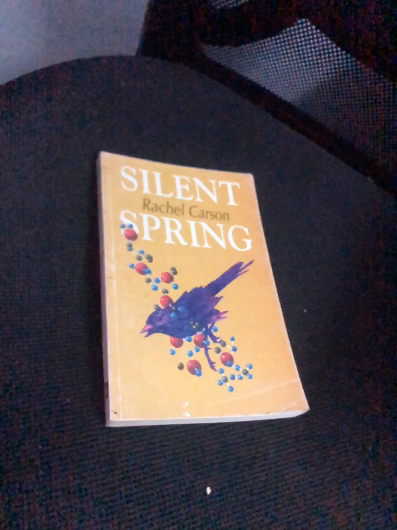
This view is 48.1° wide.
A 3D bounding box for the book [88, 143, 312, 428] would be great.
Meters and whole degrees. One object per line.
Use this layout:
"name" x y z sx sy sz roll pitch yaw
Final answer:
"book" -0.009 0.006 0.354 0.150 0.030 0.220 3 59 -20
